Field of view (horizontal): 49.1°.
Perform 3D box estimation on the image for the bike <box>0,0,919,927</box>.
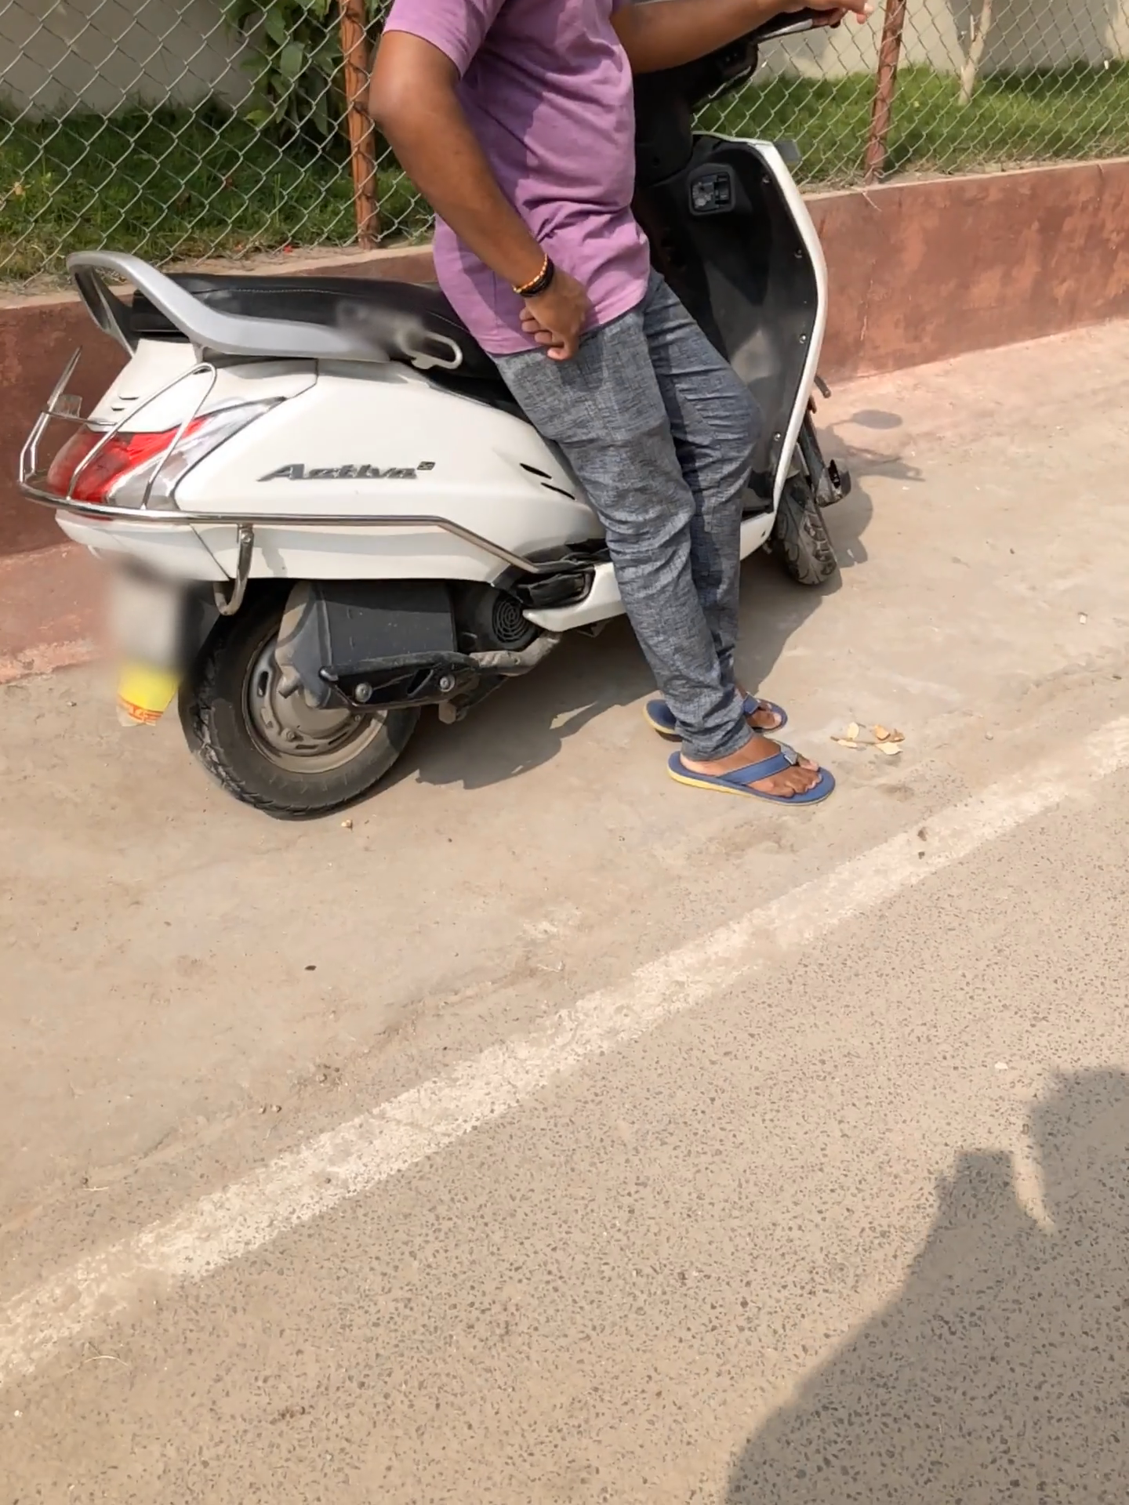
[{"bbox_3d":[-0.118,-0.662,2.181,0.618,1.113,1.560,28,44,32],"label":"bike"}]
